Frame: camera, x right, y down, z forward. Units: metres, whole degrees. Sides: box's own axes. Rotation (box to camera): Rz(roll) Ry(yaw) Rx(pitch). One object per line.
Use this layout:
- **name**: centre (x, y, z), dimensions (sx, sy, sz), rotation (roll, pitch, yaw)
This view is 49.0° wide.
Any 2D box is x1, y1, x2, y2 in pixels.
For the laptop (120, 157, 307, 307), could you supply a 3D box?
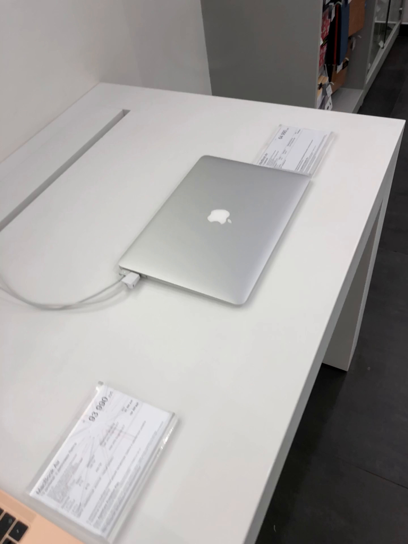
- **laptop**: centre (0.027, -0.089, 0.775), dimensions (0.209, 0.008, 0.308), rotation (18, 53, 21)
